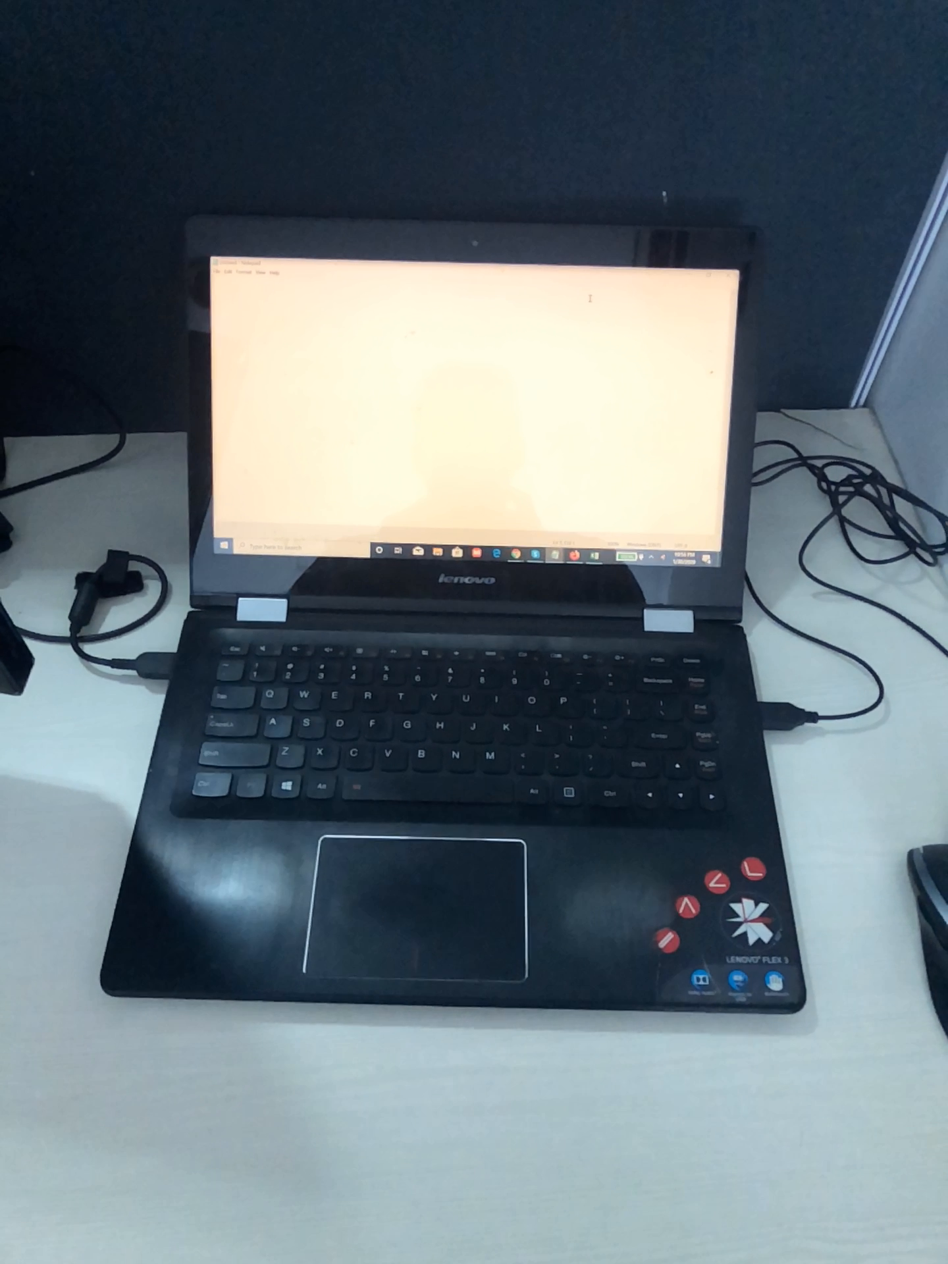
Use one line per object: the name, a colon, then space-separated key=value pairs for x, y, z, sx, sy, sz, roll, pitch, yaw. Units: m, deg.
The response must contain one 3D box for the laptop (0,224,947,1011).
laptop: x=-0.004 y=-0.029 z=0.545 sx=0.334 sy=0.171 sz=0.387 roll=2 pitch=51 yaw=0
